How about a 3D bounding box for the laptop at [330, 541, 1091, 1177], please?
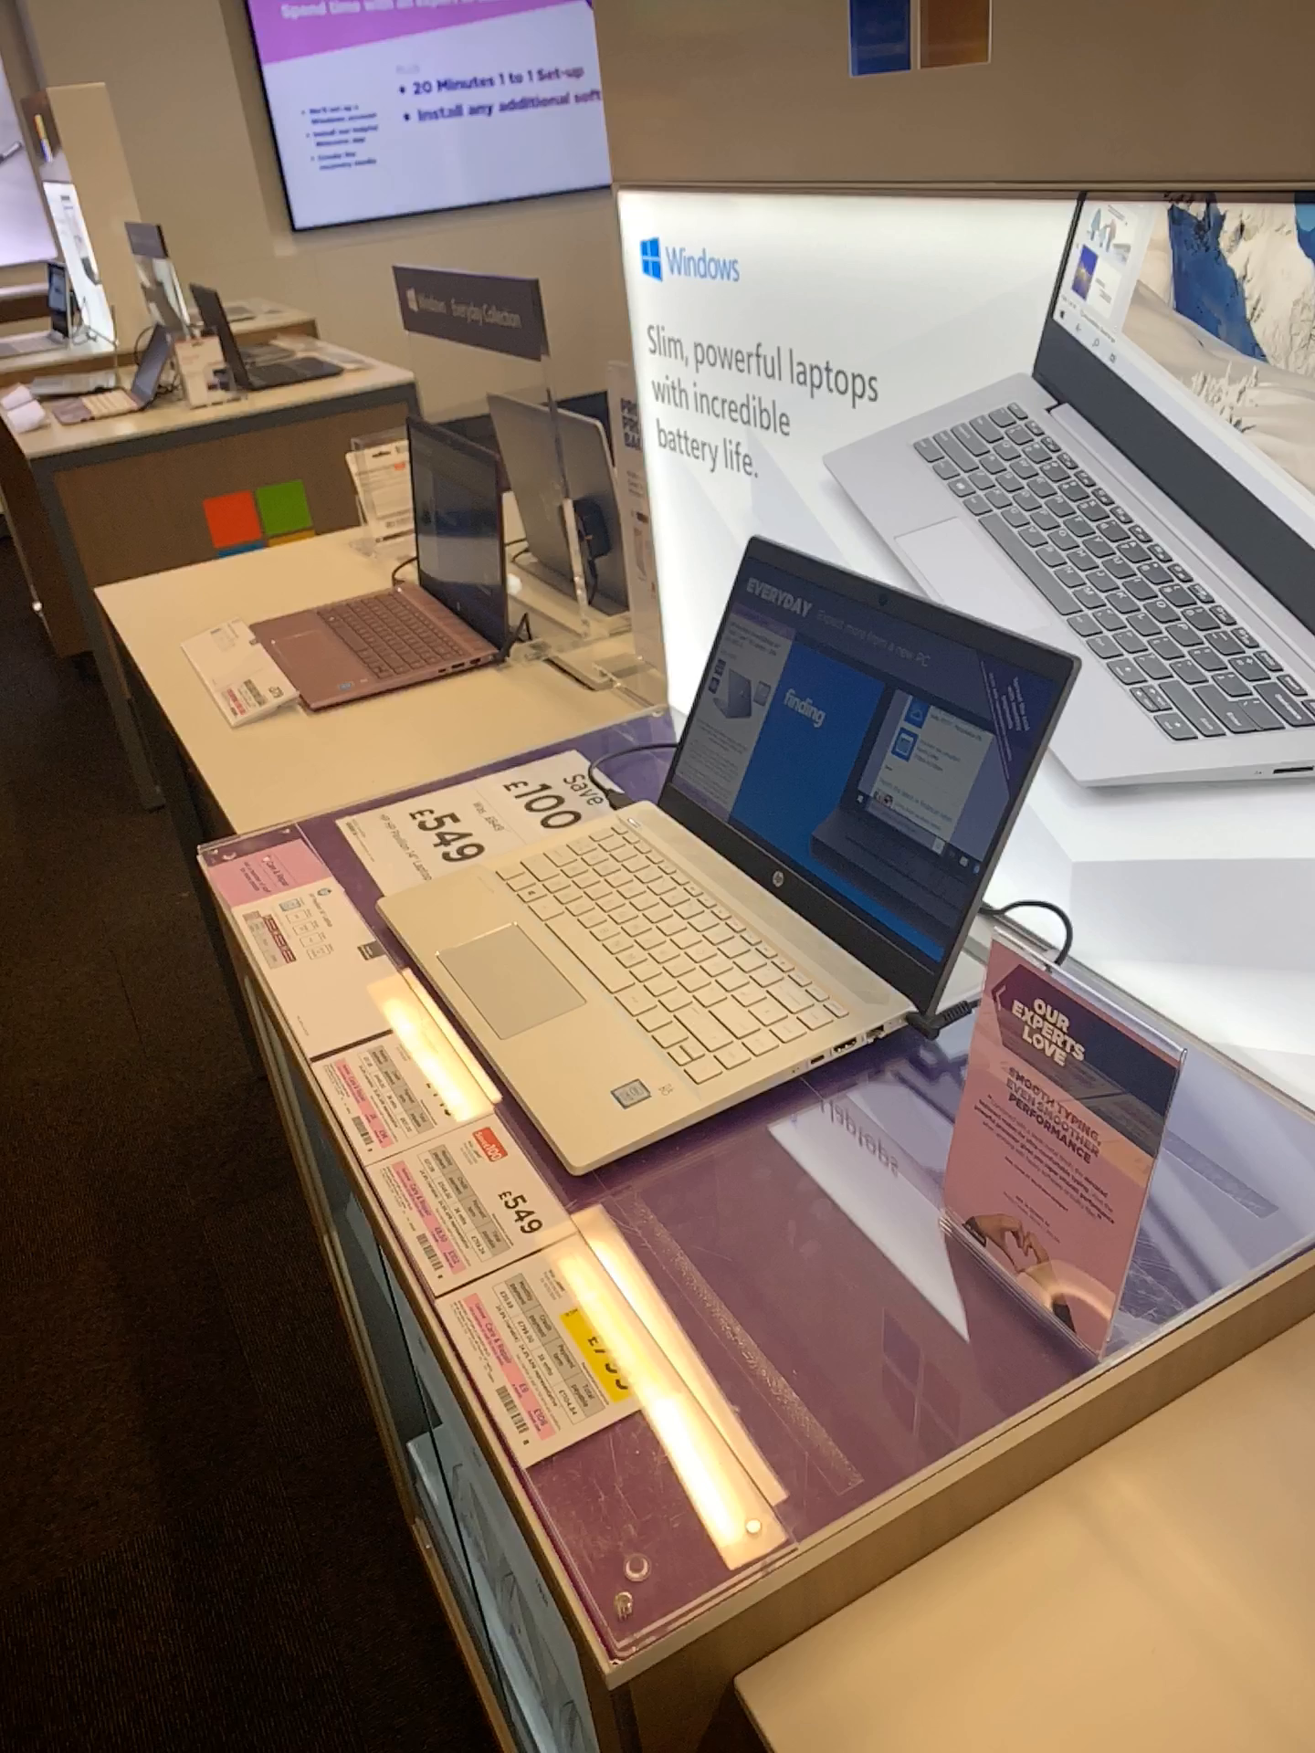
[{"bbox_3d":[0.020,-0.043,0.808,0.323,0.171,0.315,-21,33,-21],"label":"laptop"}]
